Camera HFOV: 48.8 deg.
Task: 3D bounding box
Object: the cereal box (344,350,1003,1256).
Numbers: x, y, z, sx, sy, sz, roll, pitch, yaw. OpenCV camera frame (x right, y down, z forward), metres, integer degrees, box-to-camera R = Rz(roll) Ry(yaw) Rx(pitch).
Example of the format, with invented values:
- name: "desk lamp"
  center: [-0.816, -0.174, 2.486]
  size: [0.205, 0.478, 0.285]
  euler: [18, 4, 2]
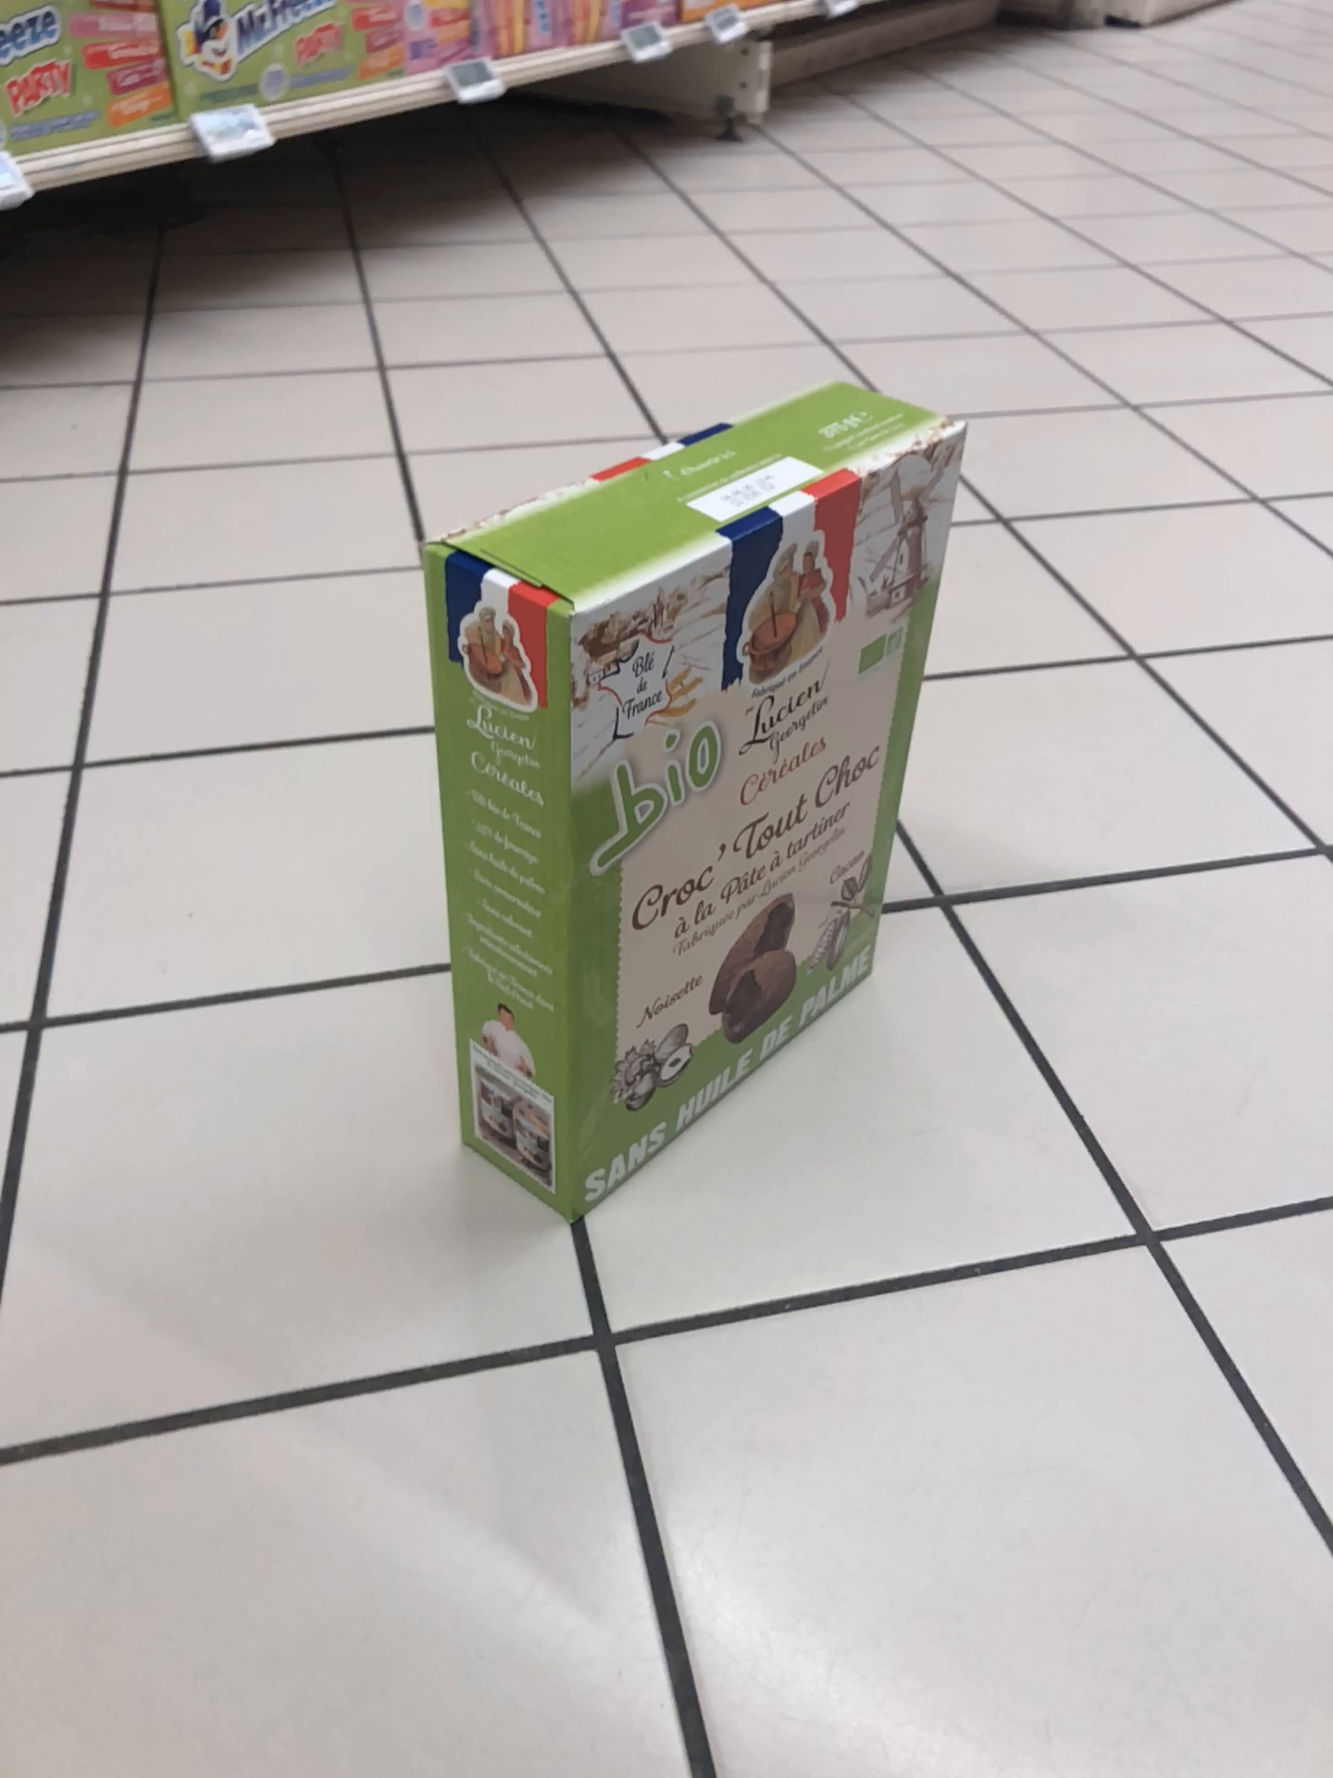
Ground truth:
- name: "cereal box"
  center: [0.009, -0.033, 0.504]
  size: [0.080, 0.239, 0.201]
  euler: [29, 45, 32]
